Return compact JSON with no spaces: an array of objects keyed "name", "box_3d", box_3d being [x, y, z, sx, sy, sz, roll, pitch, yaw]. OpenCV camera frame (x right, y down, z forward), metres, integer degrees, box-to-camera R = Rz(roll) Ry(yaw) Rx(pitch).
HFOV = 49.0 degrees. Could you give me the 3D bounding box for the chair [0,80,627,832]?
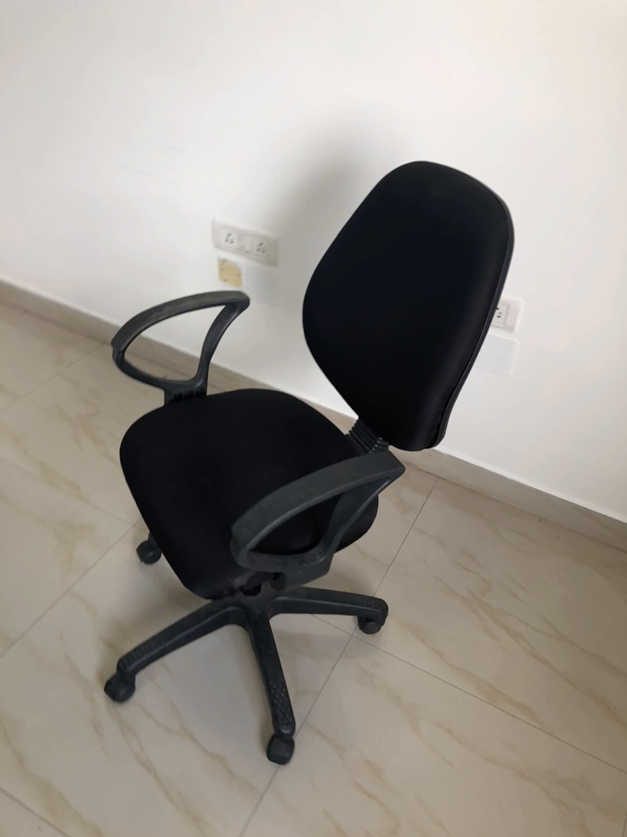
[{"name":"chair","box_3d":[-0.094,0.010,1.179,0.672,0.884,0.683,-22,46,-30]}]
